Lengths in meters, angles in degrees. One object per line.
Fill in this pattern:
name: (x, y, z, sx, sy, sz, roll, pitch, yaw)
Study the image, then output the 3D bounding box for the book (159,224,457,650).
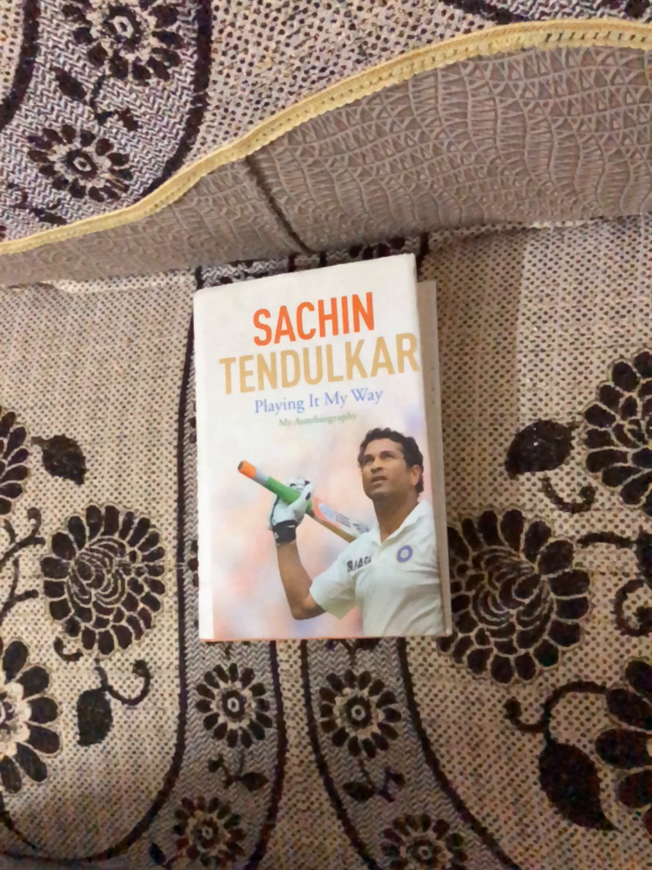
book: (-0.014, 0.007, 0.492, 0.180, 0.070, 0.260, -5, 78, 15)
